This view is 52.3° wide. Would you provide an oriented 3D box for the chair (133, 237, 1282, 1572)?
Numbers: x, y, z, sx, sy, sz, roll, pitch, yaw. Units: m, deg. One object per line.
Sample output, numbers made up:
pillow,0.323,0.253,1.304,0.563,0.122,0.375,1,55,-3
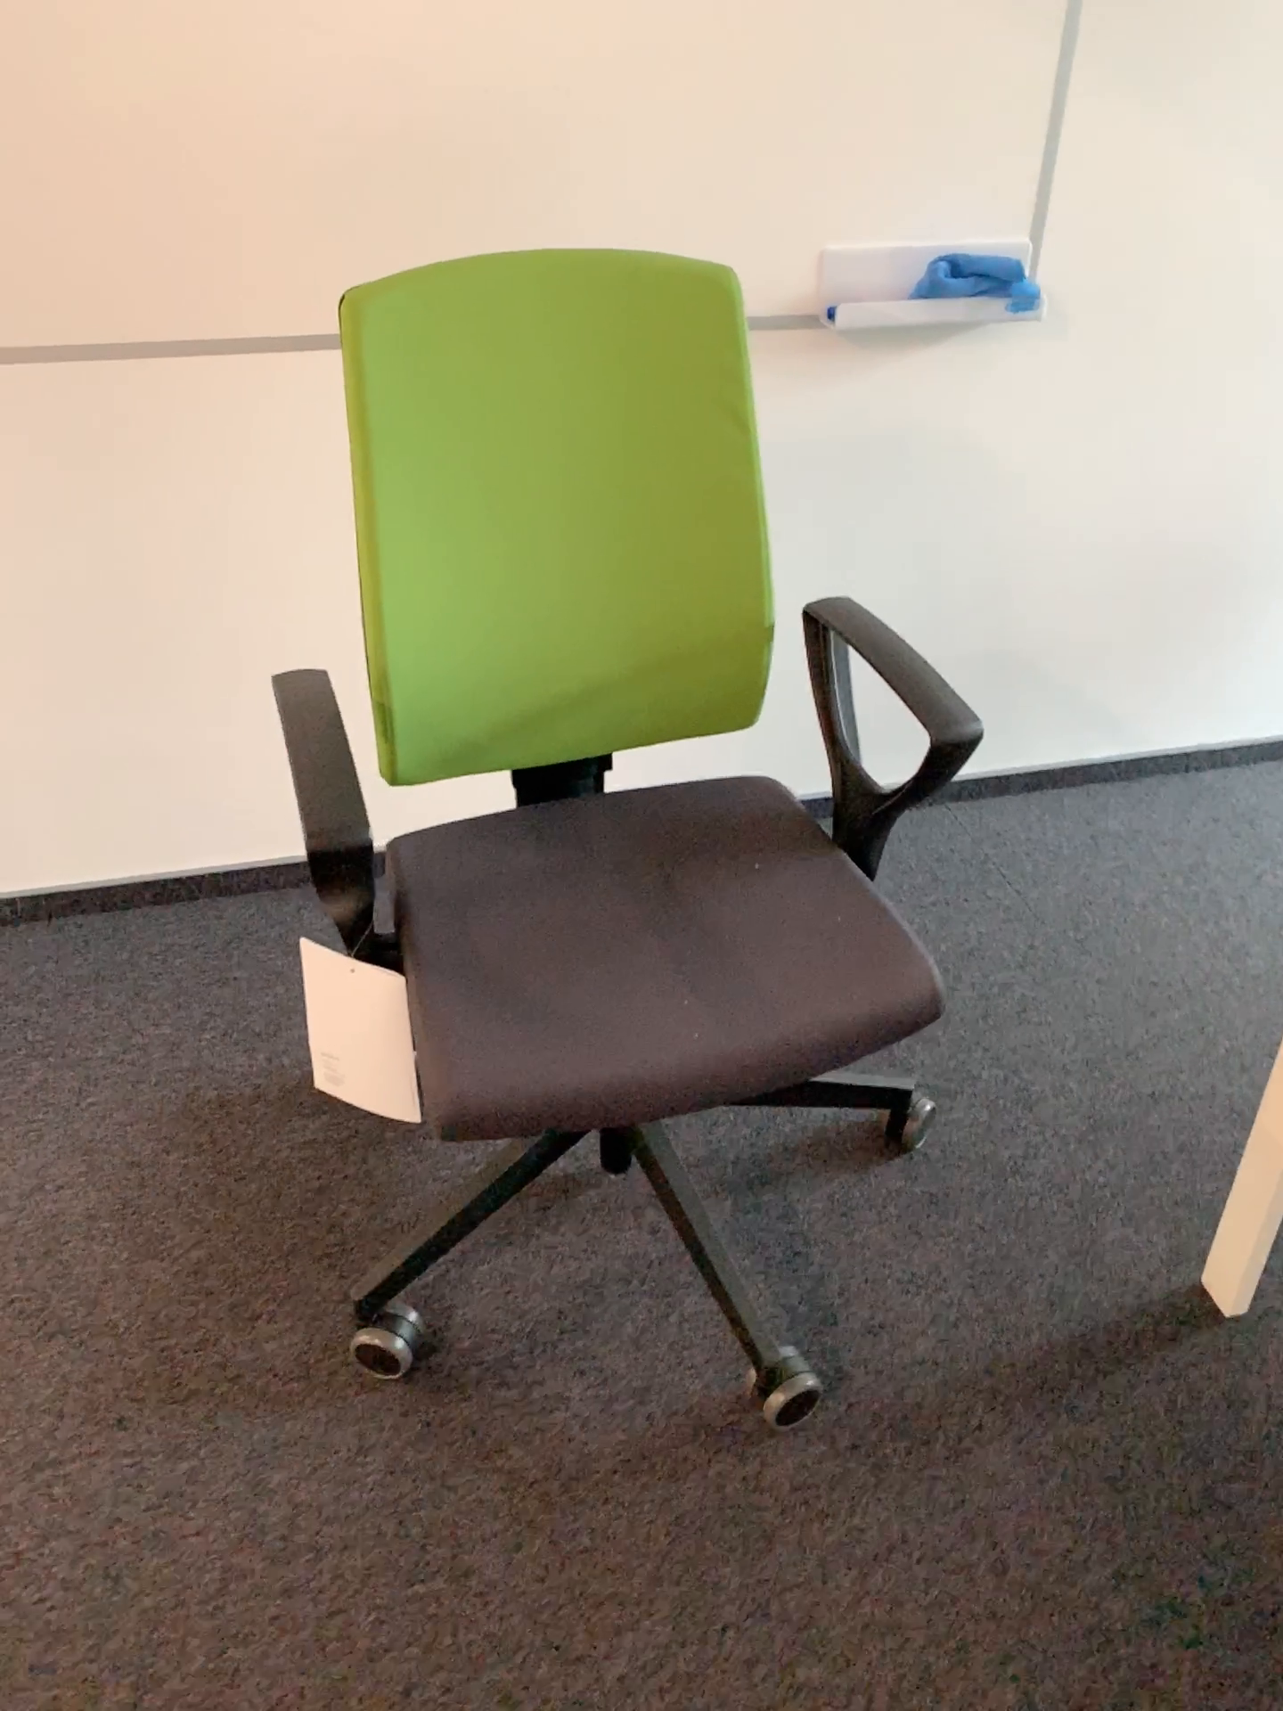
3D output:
chair,0.003,-0.015,1.310,0.761,0.964,0.733,-11,36,-17
